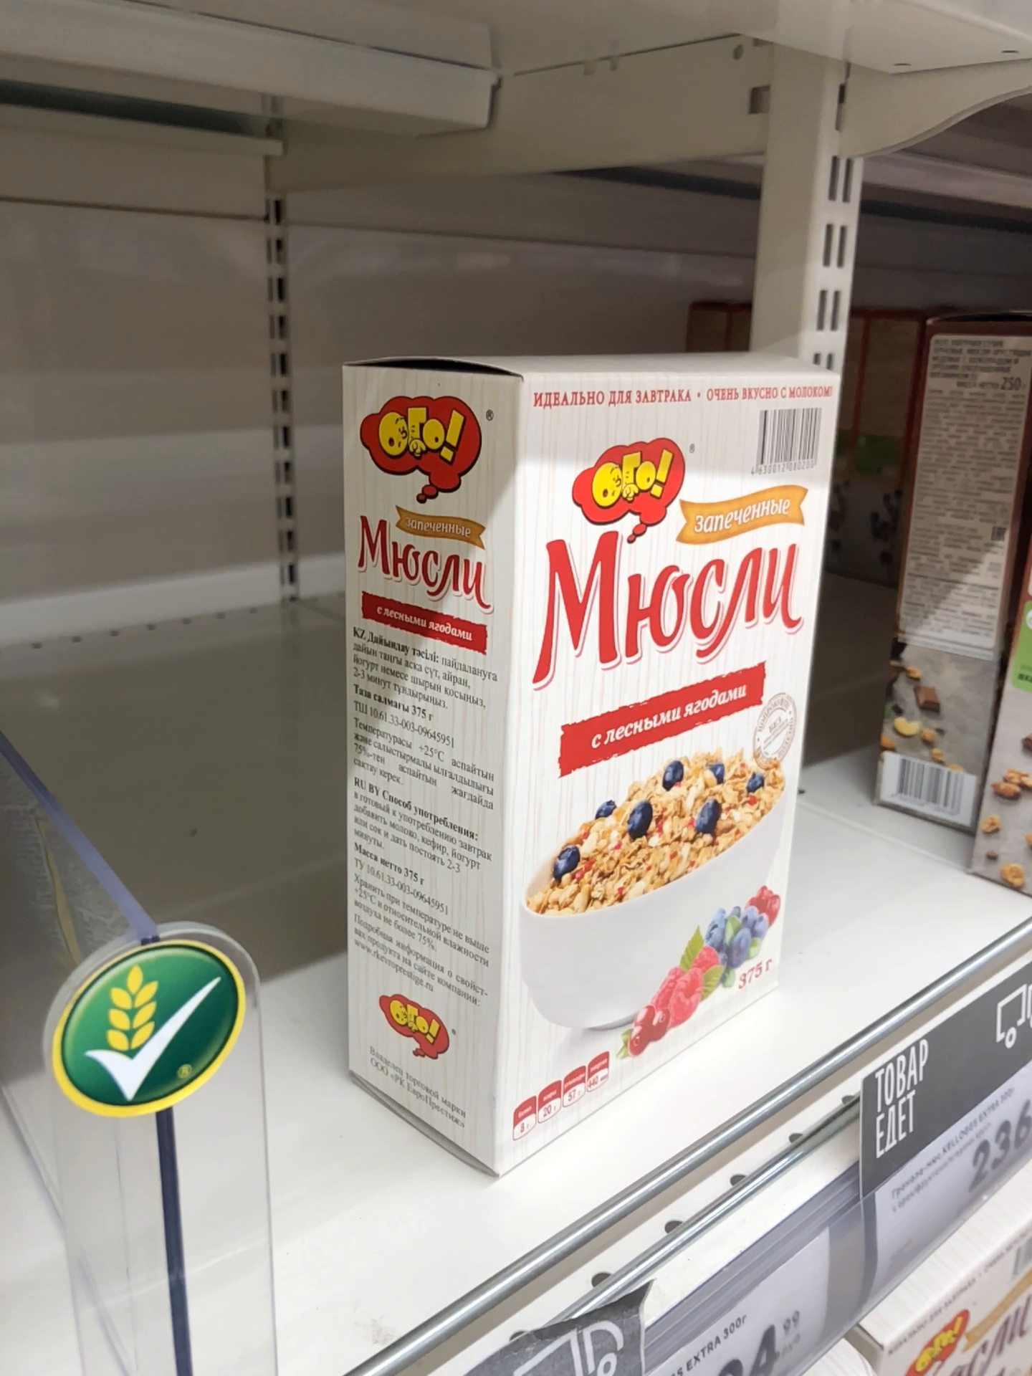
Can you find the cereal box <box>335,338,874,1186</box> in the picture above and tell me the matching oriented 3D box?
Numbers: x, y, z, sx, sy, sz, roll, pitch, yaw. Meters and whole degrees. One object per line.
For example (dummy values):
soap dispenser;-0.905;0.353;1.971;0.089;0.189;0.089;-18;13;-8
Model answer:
cereal box;0.027;0.007;0.322;0.060;0.199;0.140;18;24;42
